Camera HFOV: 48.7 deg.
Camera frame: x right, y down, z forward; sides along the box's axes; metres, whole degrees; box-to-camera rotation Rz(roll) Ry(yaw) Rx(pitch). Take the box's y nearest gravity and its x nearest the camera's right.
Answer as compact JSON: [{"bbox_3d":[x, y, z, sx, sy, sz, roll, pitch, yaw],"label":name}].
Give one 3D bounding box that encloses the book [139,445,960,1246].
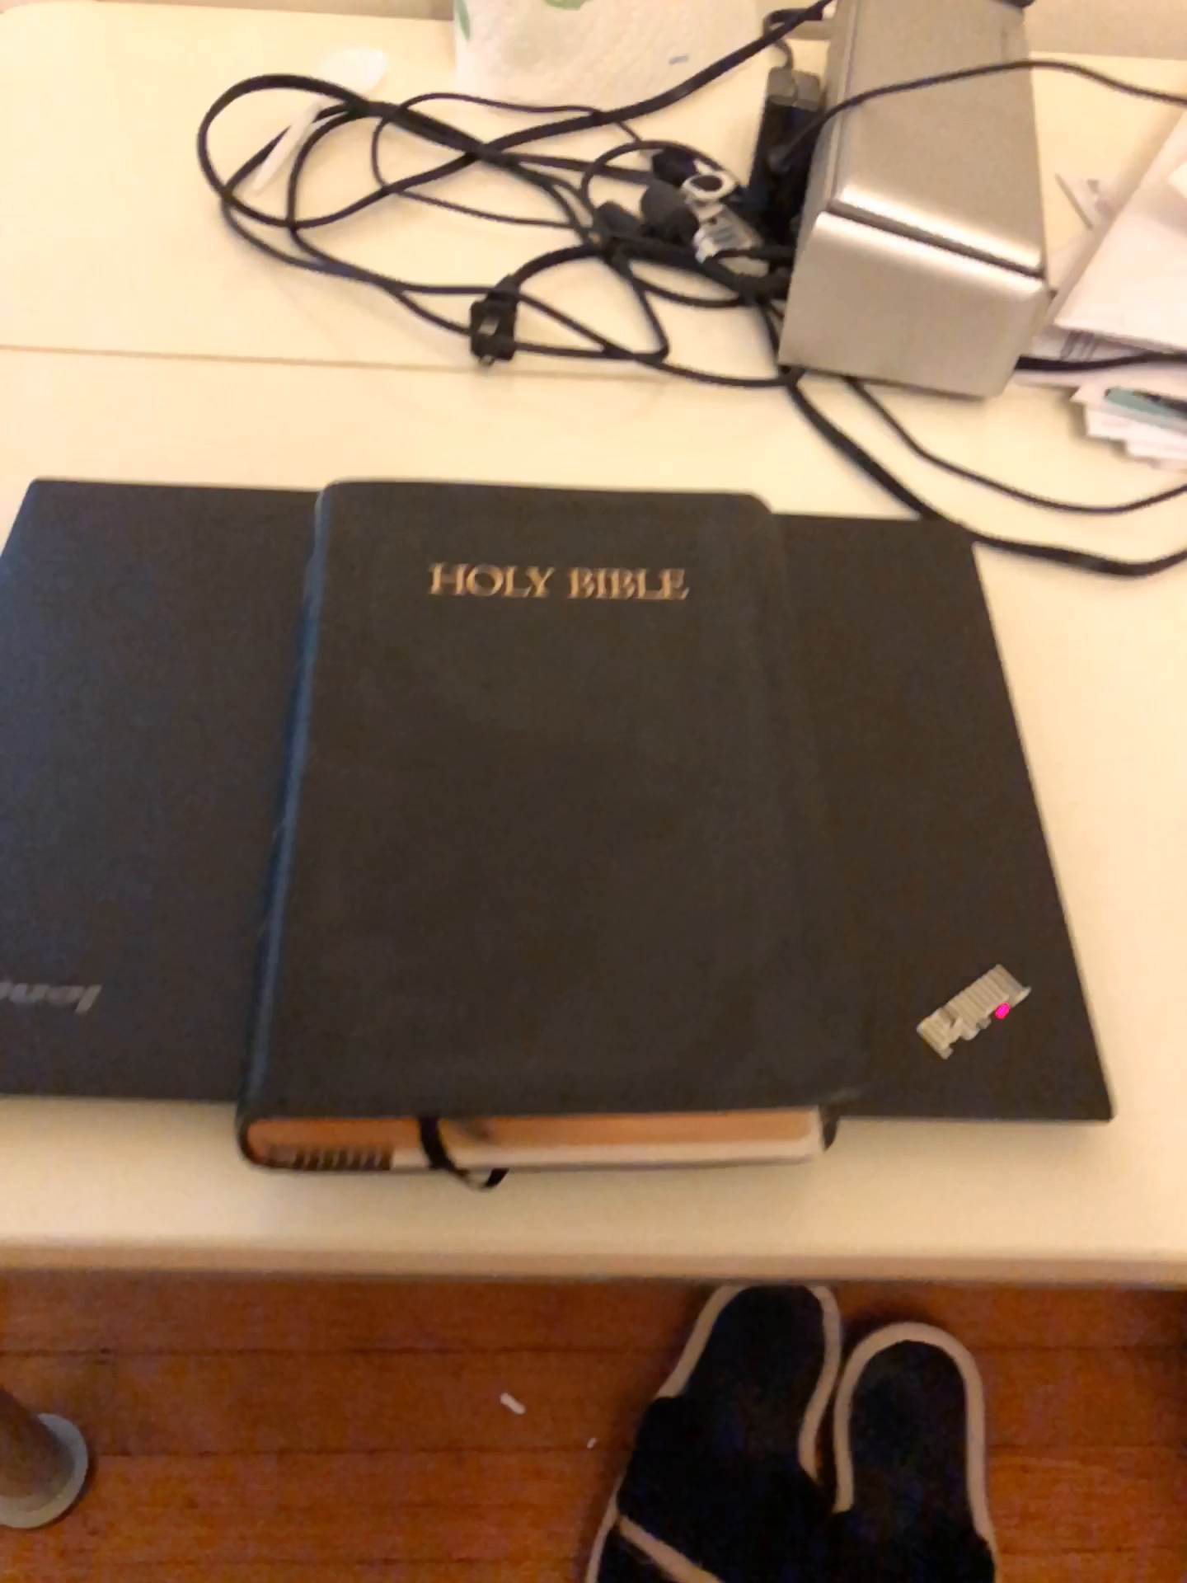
[{"bbox_3d":[-0.013,-0.003,0.363,0.170,0.040,0.241,0,51,-4],"label":"book"}]
